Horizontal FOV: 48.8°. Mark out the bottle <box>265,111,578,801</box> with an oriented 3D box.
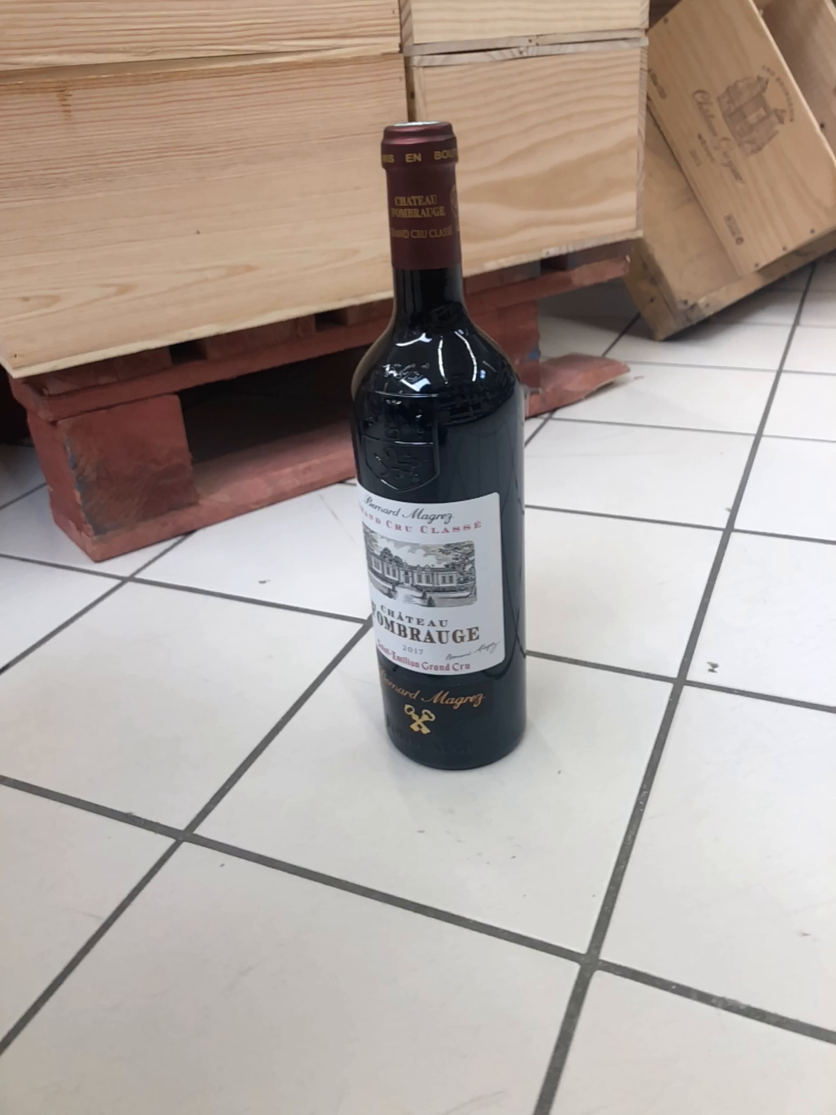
[{"bbox_3d":[0.013,-0.040,0.424,0.090,0.288,0.091,-3,27,2],"label":"bottle"}]
